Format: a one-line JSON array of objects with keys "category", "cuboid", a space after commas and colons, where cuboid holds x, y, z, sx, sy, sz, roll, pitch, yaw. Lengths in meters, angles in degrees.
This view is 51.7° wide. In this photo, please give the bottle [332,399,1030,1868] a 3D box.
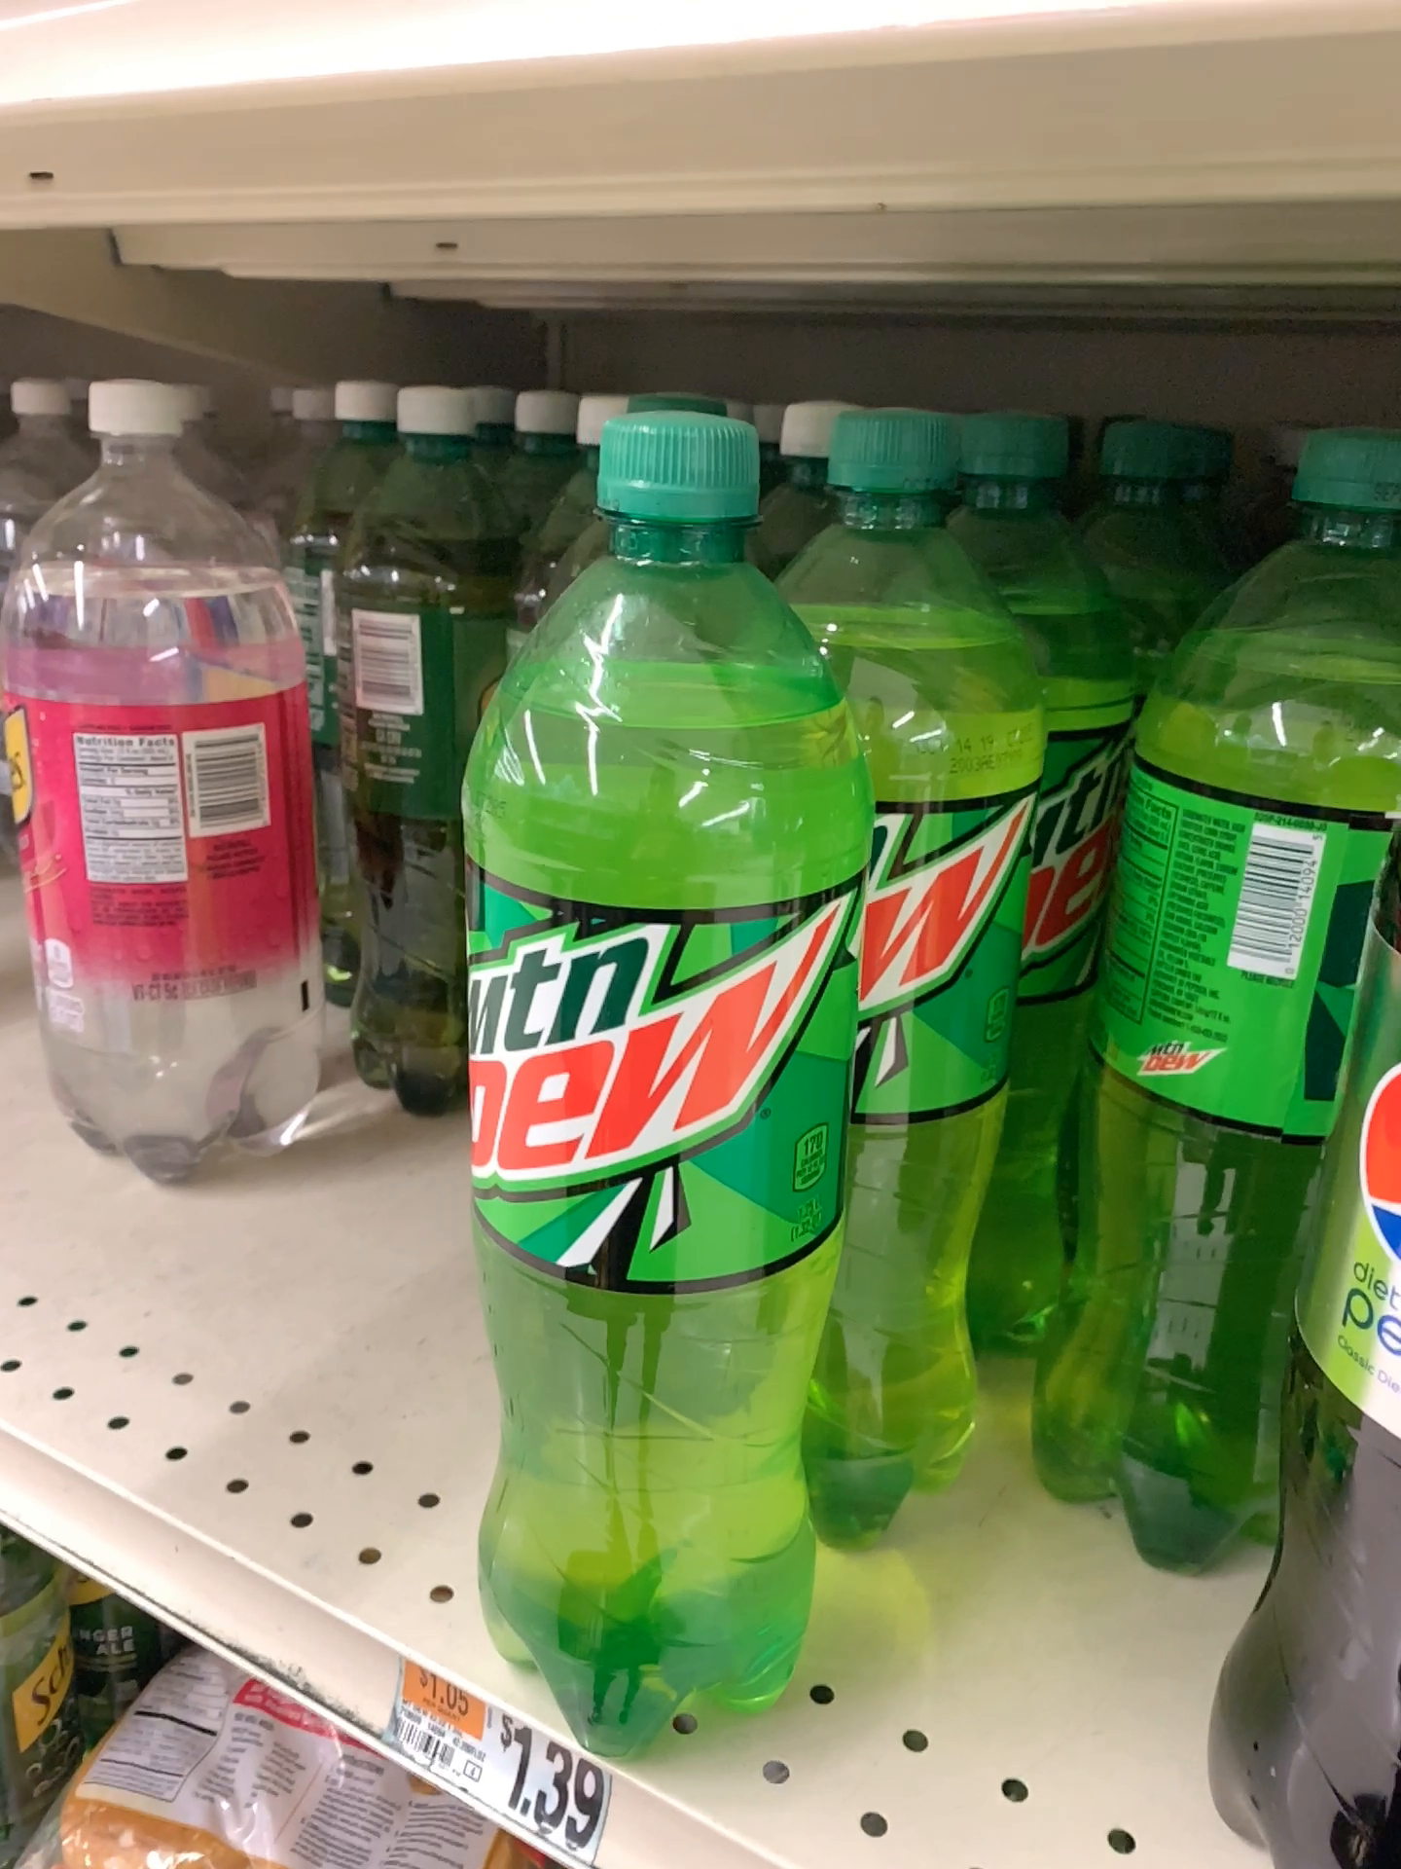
[{"category": "bottle", "cuboid": [-0.007, 0.043, 0.326, 0.100, 0.302, 0.090, 15, 23, 31]}]
